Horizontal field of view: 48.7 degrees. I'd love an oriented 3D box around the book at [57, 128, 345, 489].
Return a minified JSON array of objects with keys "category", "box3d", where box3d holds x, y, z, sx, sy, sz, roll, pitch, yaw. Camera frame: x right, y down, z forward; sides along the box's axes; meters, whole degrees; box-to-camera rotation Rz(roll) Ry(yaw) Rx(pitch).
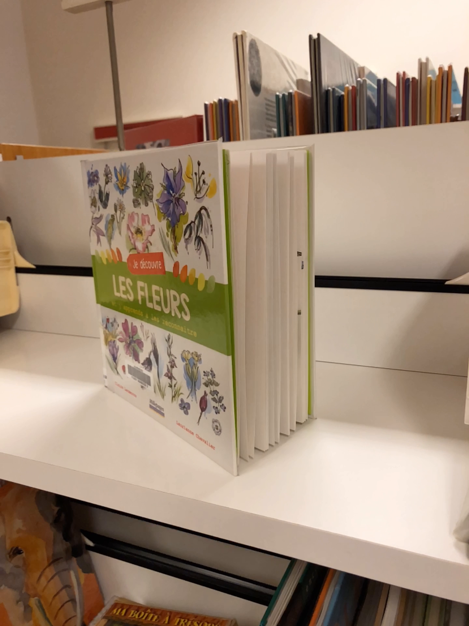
[{"category":"book","box3d":[-0.032,-0.019,0.410,0.104,0.215,0.208,-14,17,-43]}]
